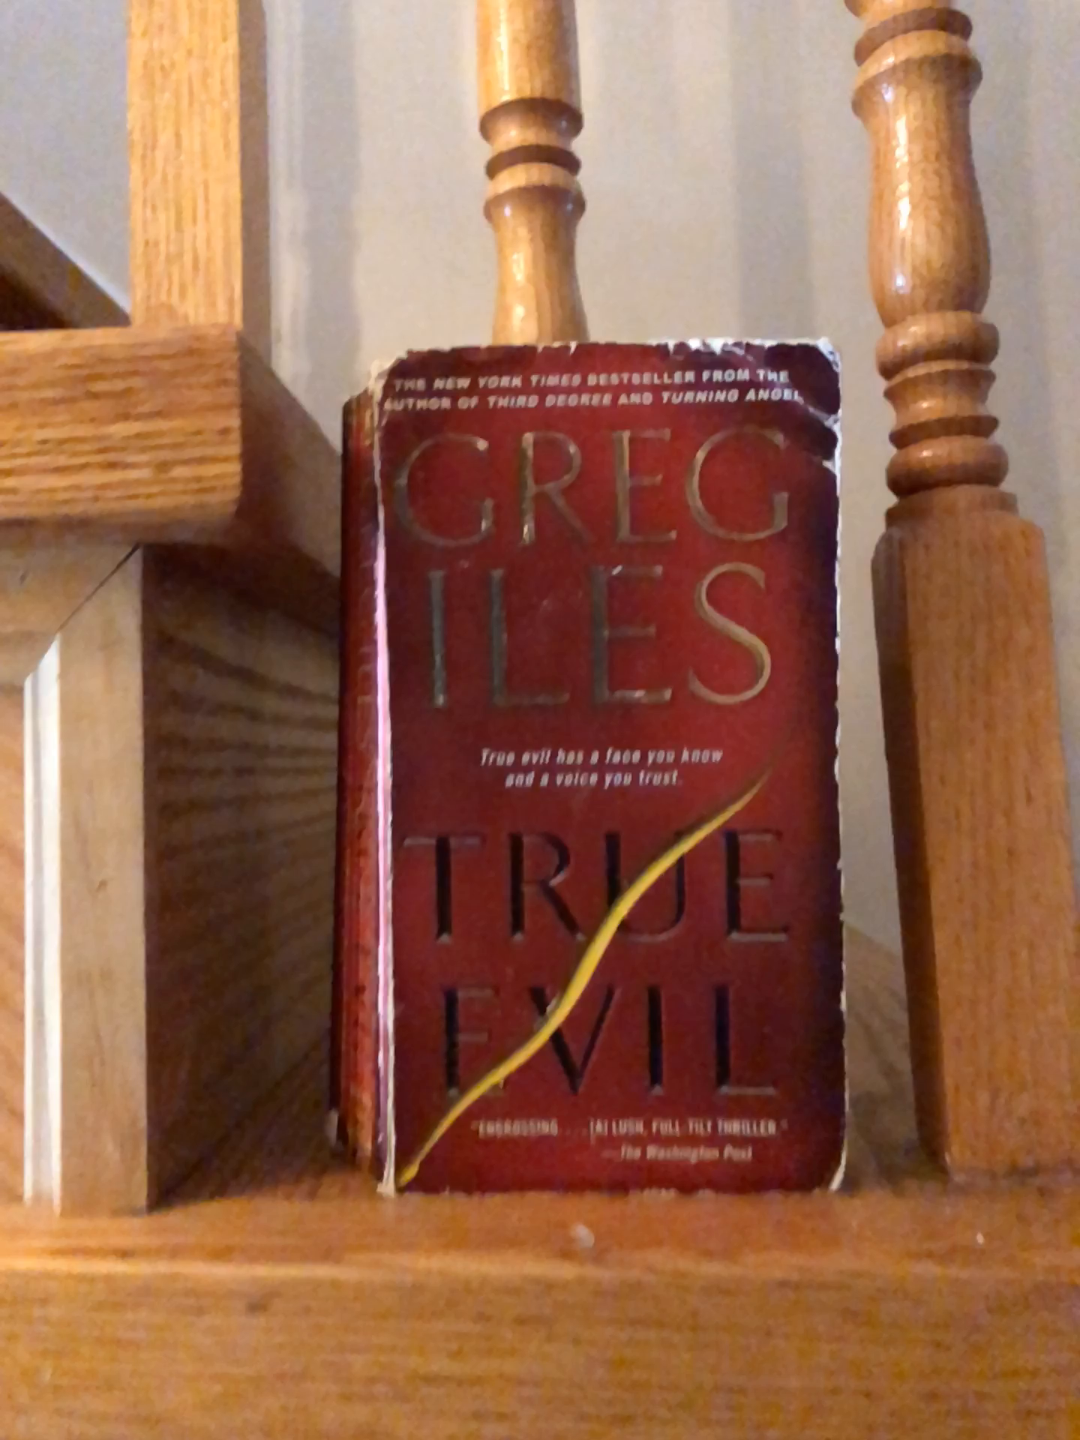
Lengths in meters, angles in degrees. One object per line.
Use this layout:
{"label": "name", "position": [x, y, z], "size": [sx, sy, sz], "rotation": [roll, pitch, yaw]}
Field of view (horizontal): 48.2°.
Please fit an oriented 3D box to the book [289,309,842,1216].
{"label": "book", "position": [0.006, 0.010, 0.314], "size": [0.120, 0.205, 0.068], "rotation": [-2, -3, 2]}
